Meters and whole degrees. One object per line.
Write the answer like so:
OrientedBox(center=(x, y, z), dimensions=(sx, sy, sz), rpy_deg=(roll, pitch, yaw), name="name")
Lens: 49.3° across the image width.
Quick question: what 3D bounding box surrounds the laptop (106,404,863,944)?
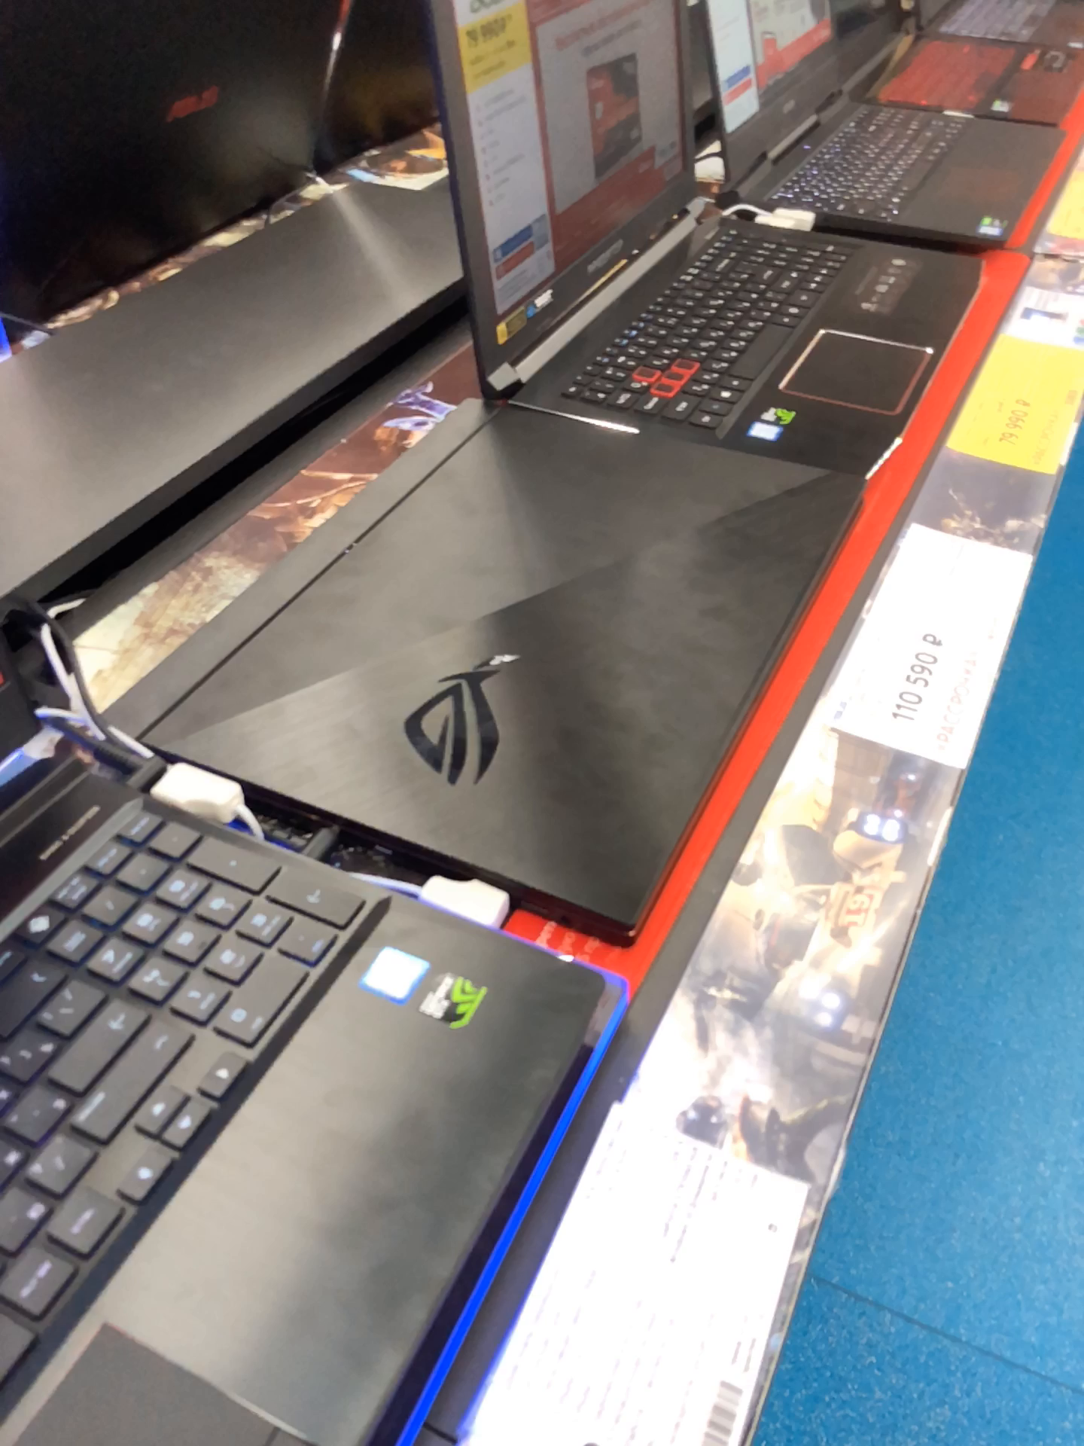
OrientedBox(center=(-0.004, -0.061, 0.603), dimensions=(0.254, 0.006, 0.349), rpy_deg=(18, 44, 18), name="laptop")
